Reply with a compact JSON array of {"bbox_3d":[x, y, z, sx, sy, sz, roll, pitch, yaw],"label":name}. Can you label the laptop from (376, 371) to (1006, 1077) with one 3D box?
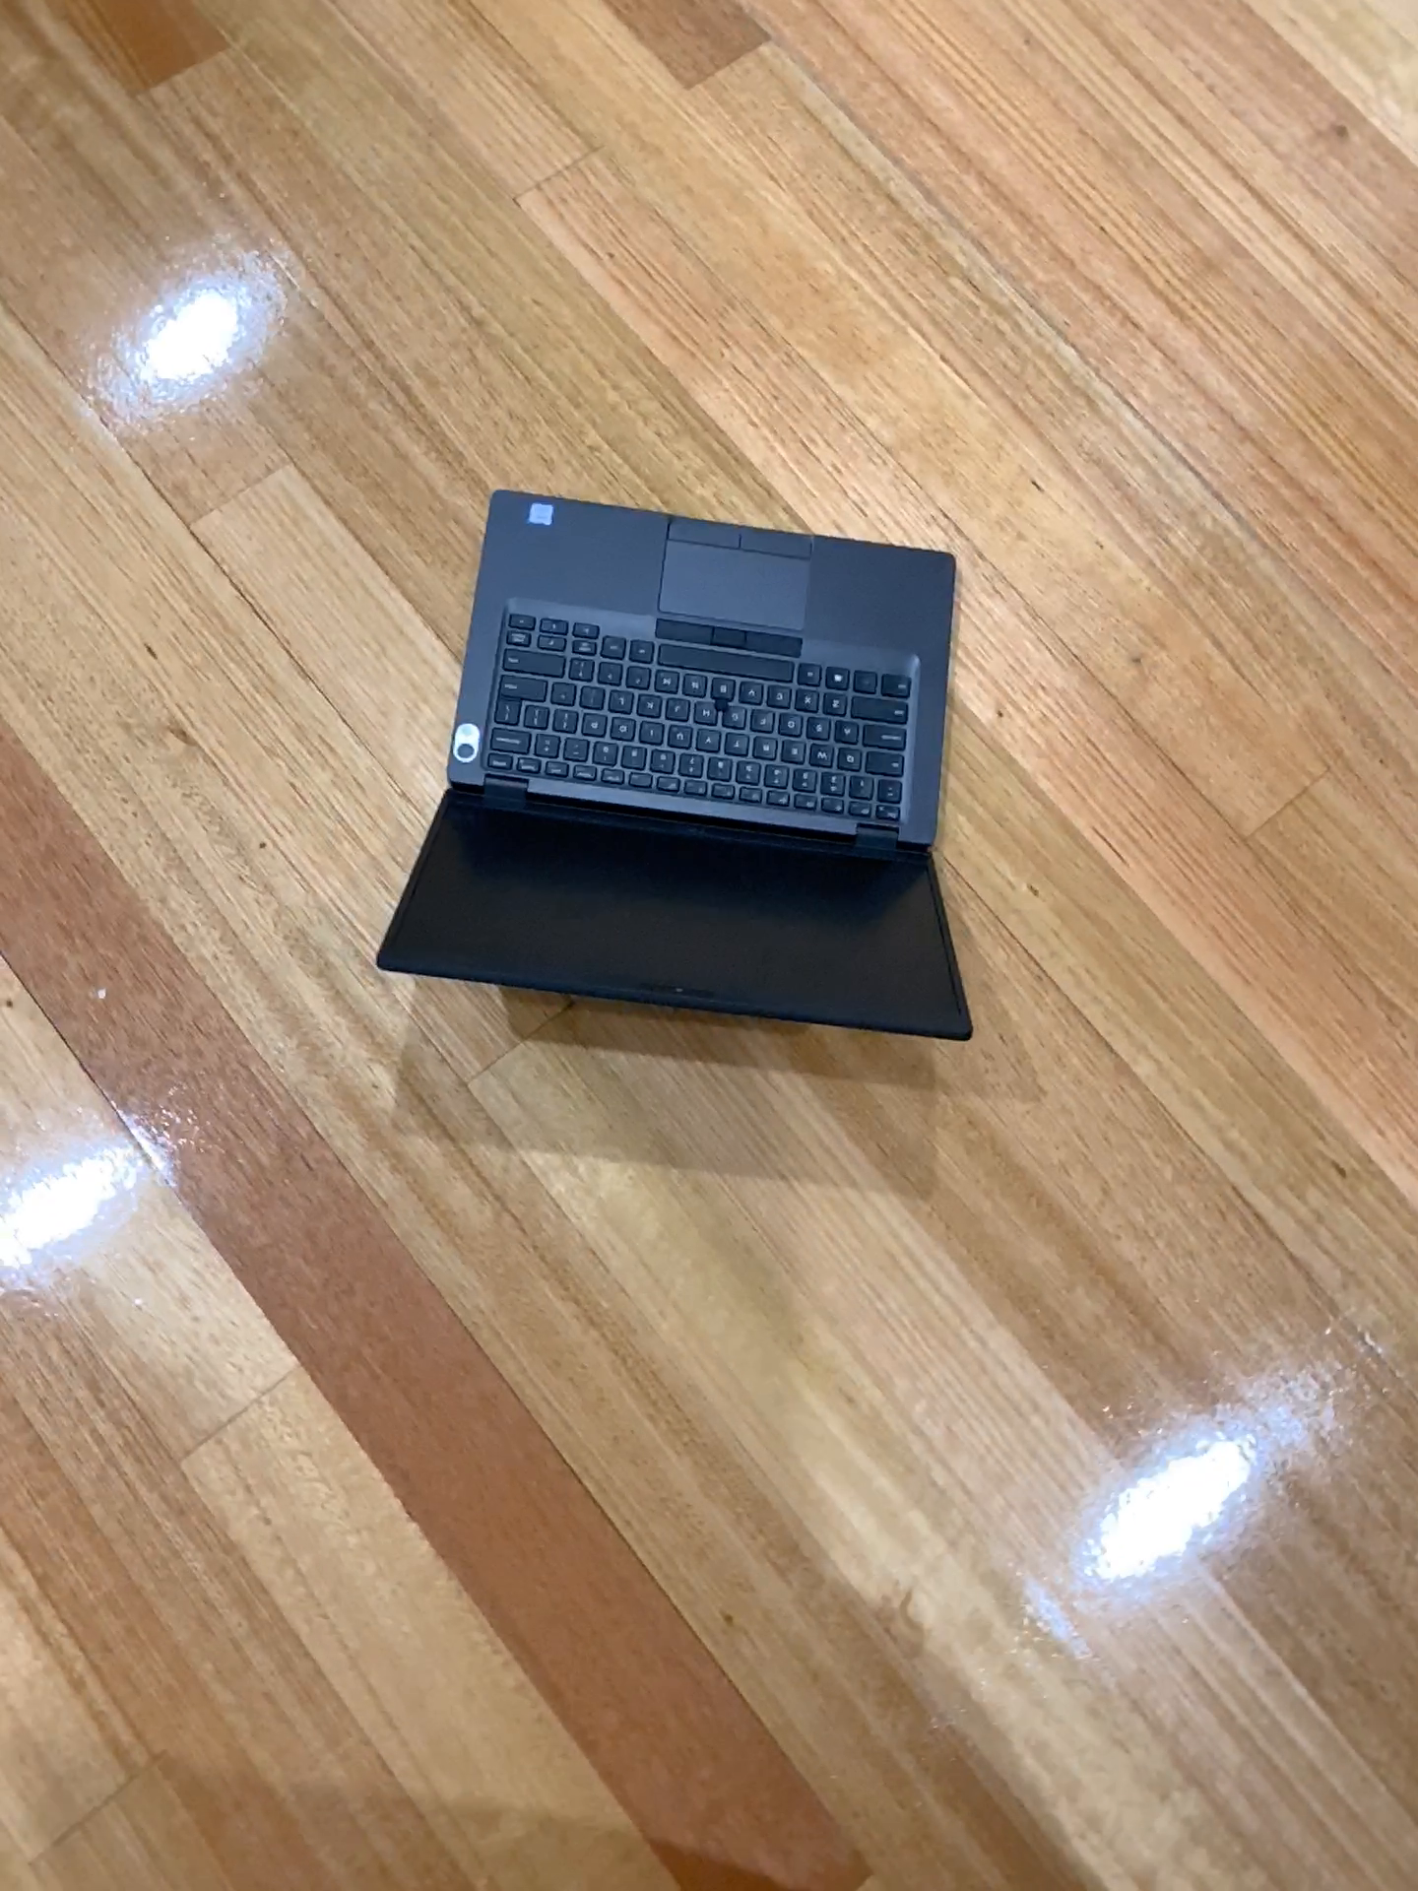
[{"bbox_3d":[-0.003,-0.132,0.889,0.320,0.134,0.372,7,74,-3],"label":"laptop"}]
